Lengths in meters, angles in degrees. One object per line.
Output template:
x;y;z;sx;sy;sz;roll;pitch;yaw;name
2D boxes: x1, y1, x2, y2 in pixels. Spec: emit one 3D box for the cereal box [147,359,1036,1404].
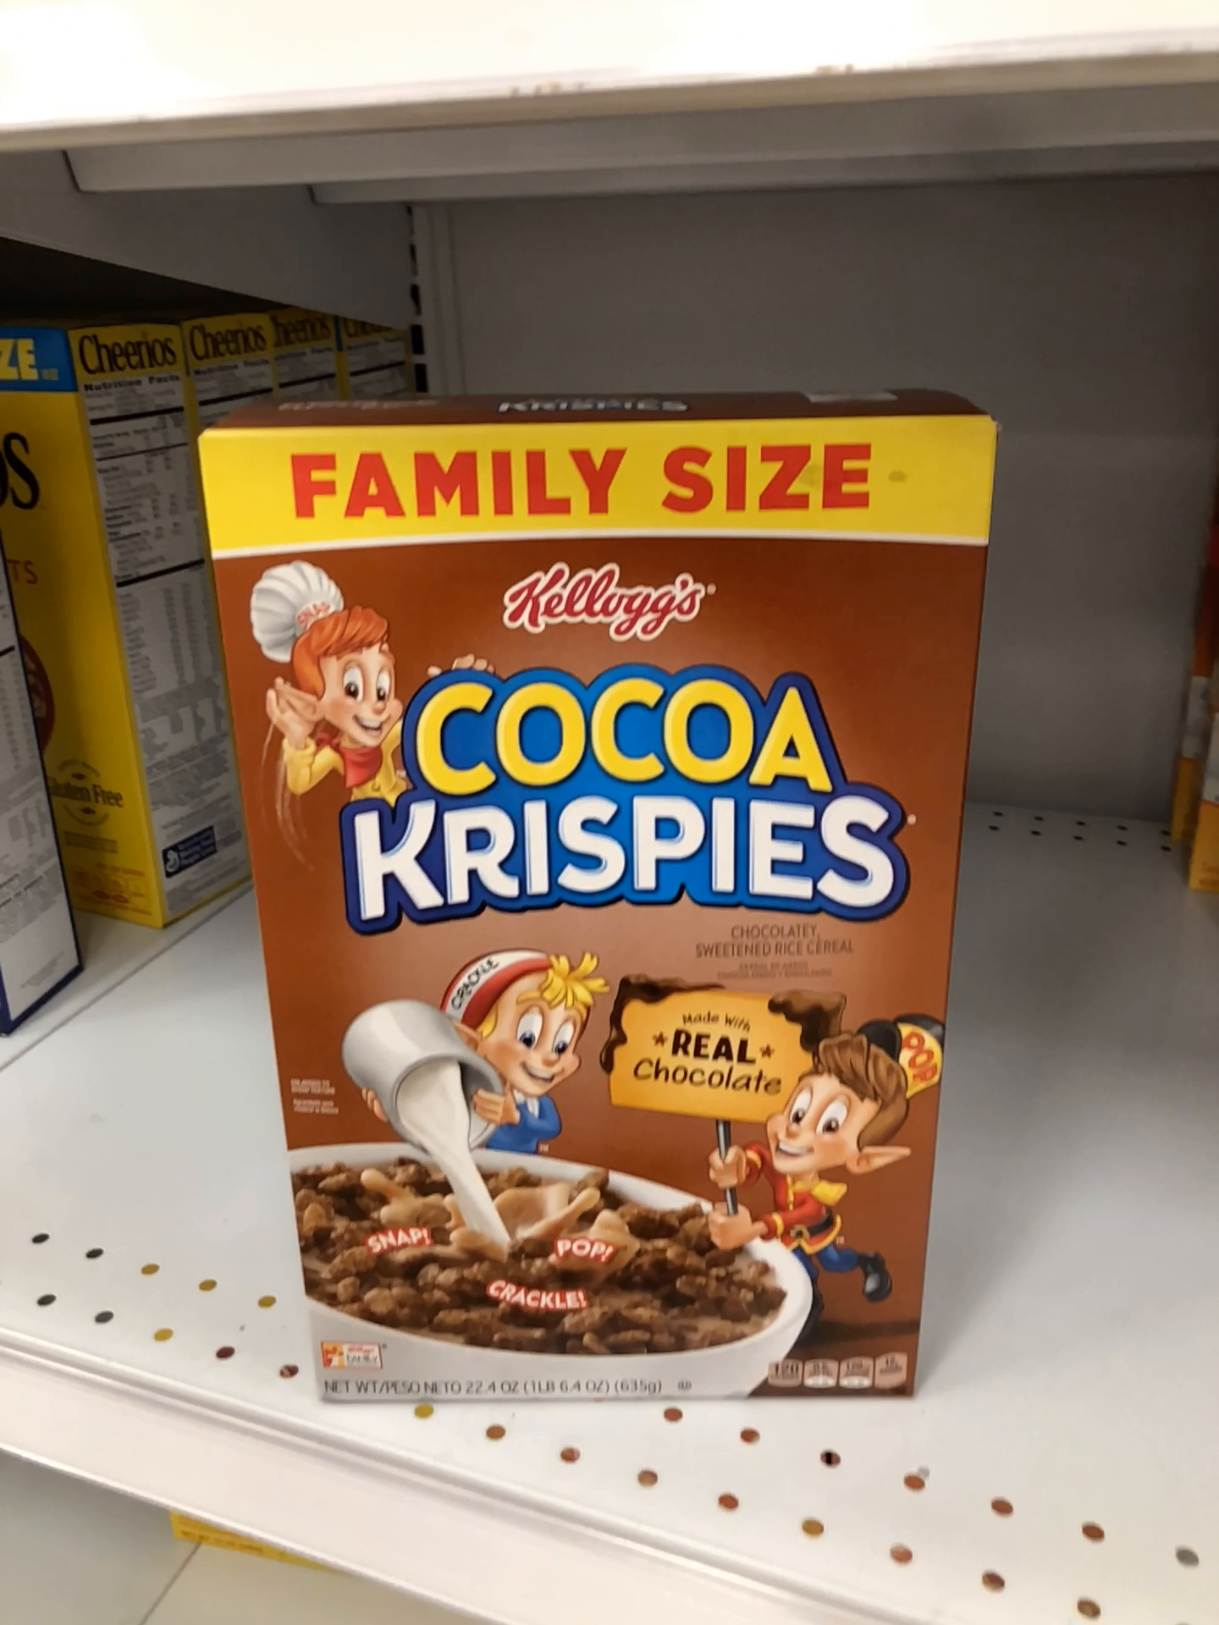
0.002;0.032;0.394;0.200;0.299;0.070;-2;23;3;cereal box
